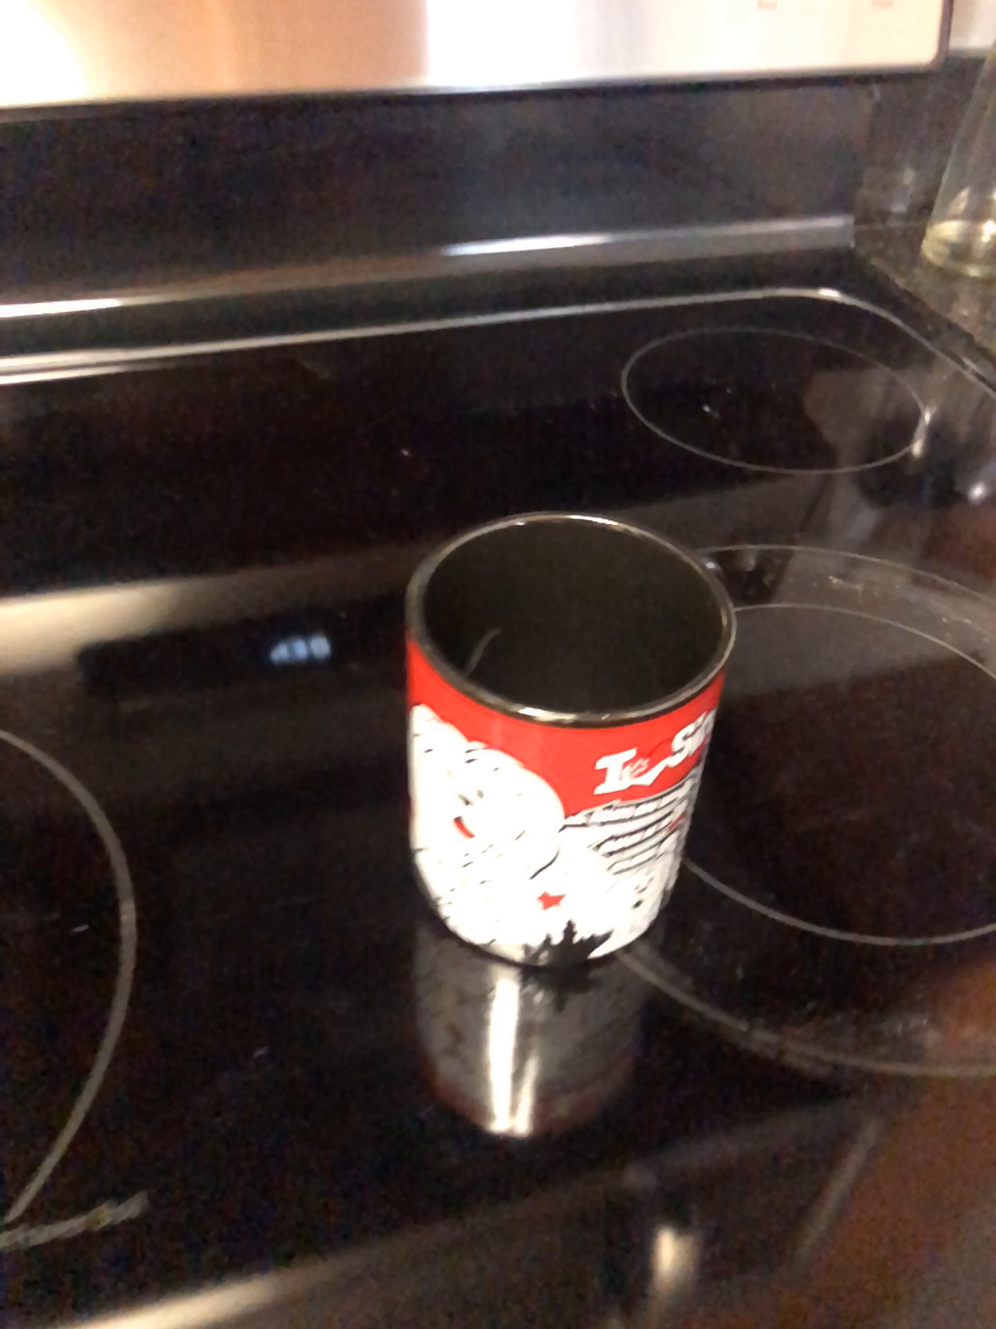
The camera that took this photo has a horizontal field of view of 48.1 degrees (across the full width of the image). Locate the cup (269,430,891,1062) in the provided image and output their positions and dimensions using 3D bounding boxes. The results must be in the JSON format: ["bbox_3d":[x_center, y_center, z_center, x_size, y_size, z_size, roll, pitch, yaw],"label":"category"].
[{"bbox_3d":[0.022,0.014,0.306,0.130,0.090,0.090,-31,51,-33],"label":"cup"}]
